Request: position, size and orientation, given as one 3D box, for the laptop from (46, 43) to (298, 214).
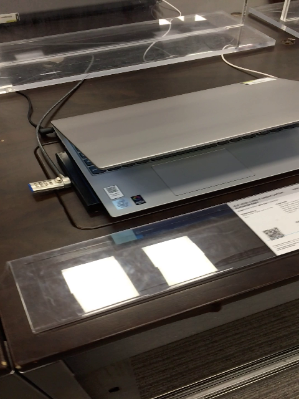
[{"bbox_3d":[0.079,-0.117,0.567,0.368,0.074,0.220,-16,49,-11],"label":"laptop"}]
